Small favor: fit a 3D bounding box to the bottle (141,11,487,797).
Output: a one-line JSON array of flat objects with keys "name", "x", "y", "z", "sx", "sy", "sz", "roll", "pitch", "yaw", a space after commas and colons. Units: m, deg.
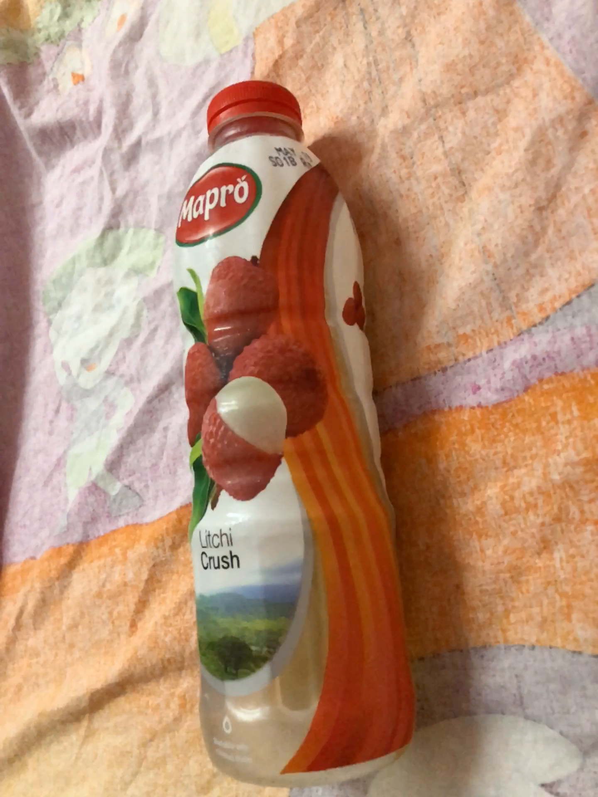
[{"name": "bottle", "x": 0.000, "y": 0.008, "z": 0.252, "sx": 0.080, "sy": 0.070, "sz": 0.260, "roll": -14, "pitch": 78, "yaw": 40}]
